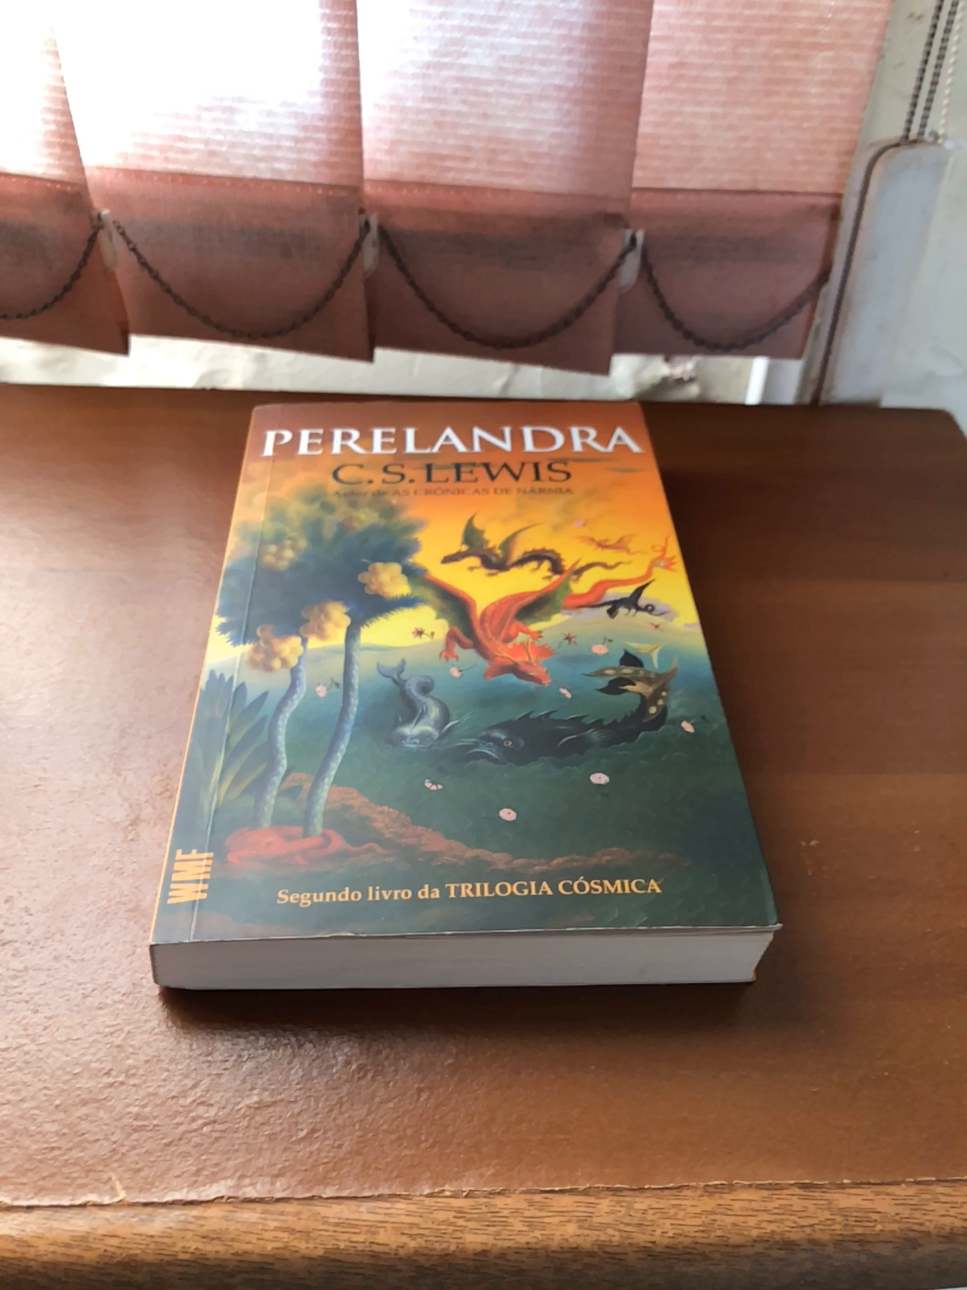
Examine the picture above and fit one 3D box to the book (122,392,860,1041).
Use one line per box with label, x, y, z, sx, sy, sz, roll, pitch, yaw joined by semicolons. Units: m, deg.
book;-0.002;-0.001;0.270;0.130;0.030;0.191;-1;43;-3
